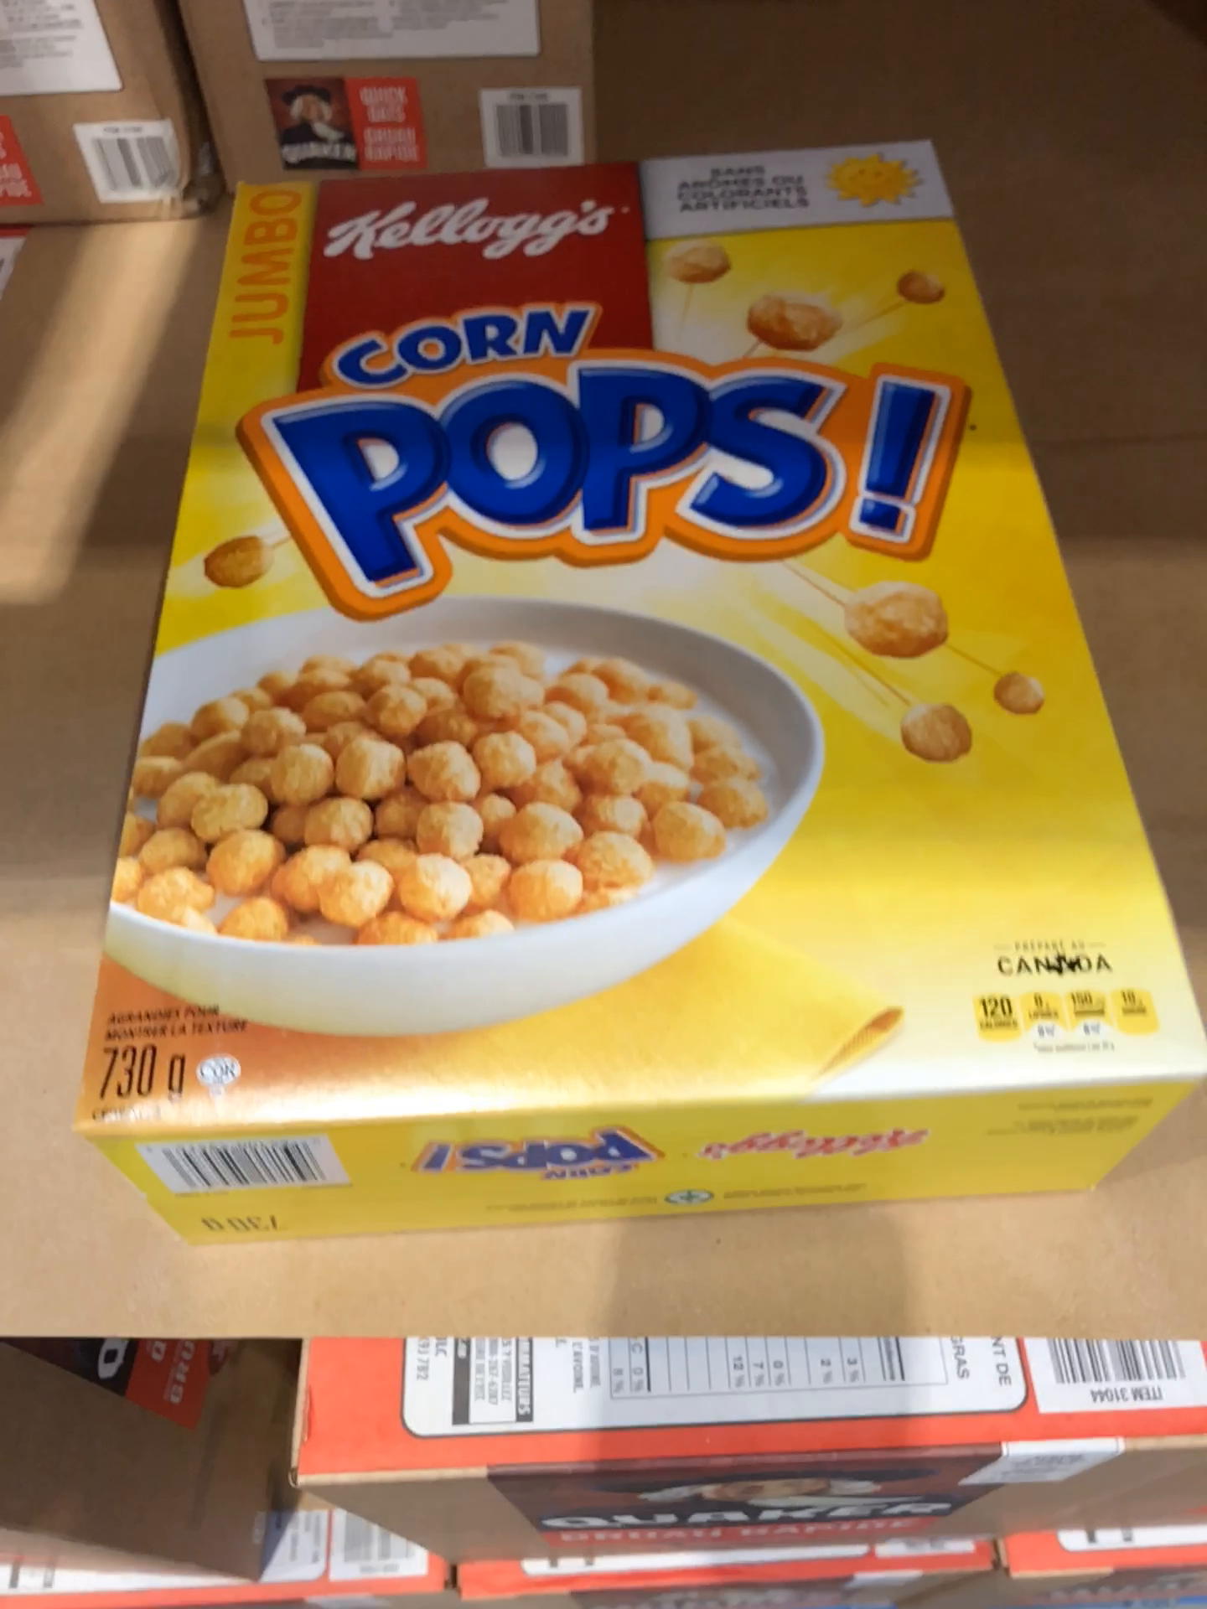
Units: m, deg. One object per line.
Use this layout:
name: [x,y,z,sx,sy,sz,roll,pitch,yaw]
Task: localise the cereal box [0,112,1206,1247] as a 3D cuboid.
cereal box: [0.001,-0.059,0.408,0.270,0.100,0.341,-3,56,1]
